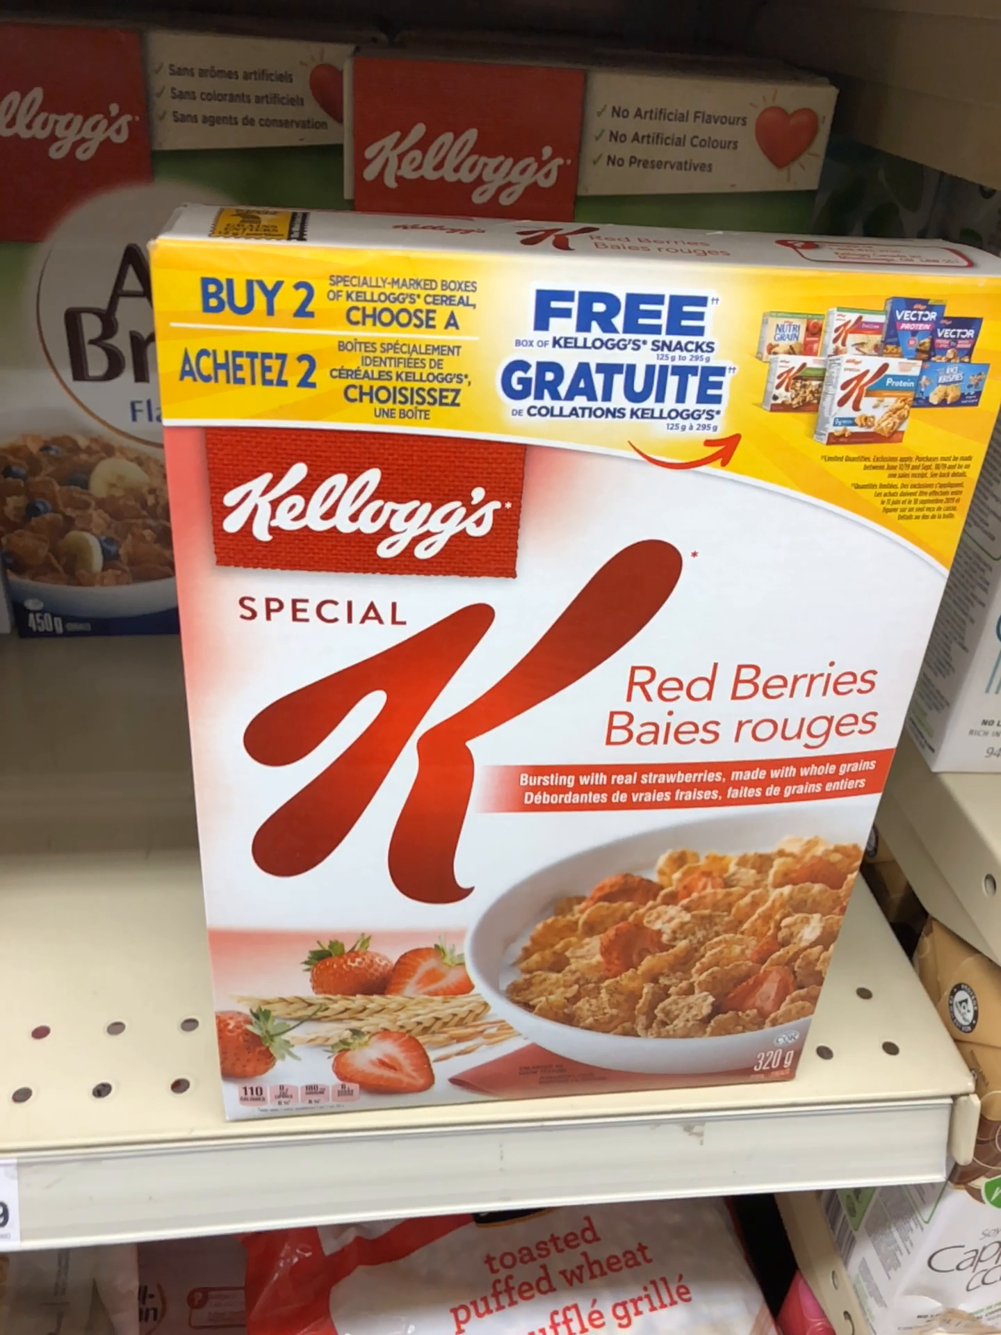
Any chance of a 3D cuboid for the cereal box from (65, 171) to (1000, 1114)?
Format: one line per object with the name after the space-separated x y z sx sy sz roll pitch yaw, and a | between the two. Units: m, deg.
0.007 0.012 0.294 0.190 0.248 0.050 -1 33 -8 | cereal box
